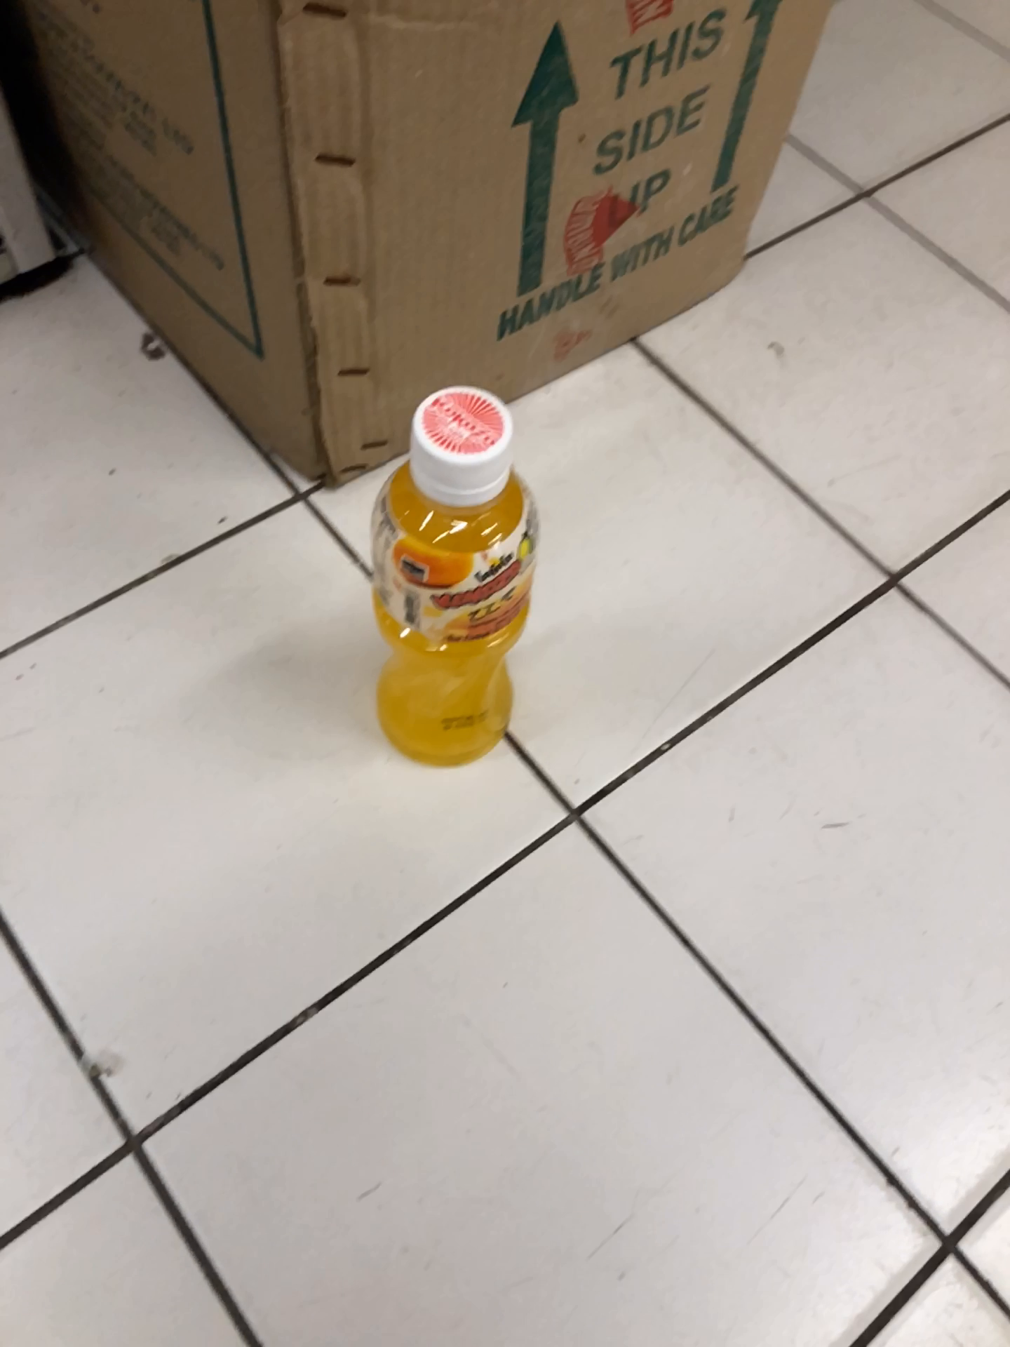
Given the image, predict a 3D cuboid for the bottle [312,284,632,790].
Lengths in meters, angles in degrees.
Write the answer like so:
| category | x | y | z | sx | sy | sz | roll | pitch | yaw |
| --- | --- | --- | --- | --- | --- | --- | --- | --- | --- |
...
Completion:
| category | x | y | z | sx | sy | sz | roll | pitch | yaw |
| --- | --- | --- | --- | --- | --- | --- | --- | --- | --- |
| bottle | -0.018 | -0.037 | 0.403 | 0.070 | 0.179 | 0.070 | 3 | 60 | -4 |
